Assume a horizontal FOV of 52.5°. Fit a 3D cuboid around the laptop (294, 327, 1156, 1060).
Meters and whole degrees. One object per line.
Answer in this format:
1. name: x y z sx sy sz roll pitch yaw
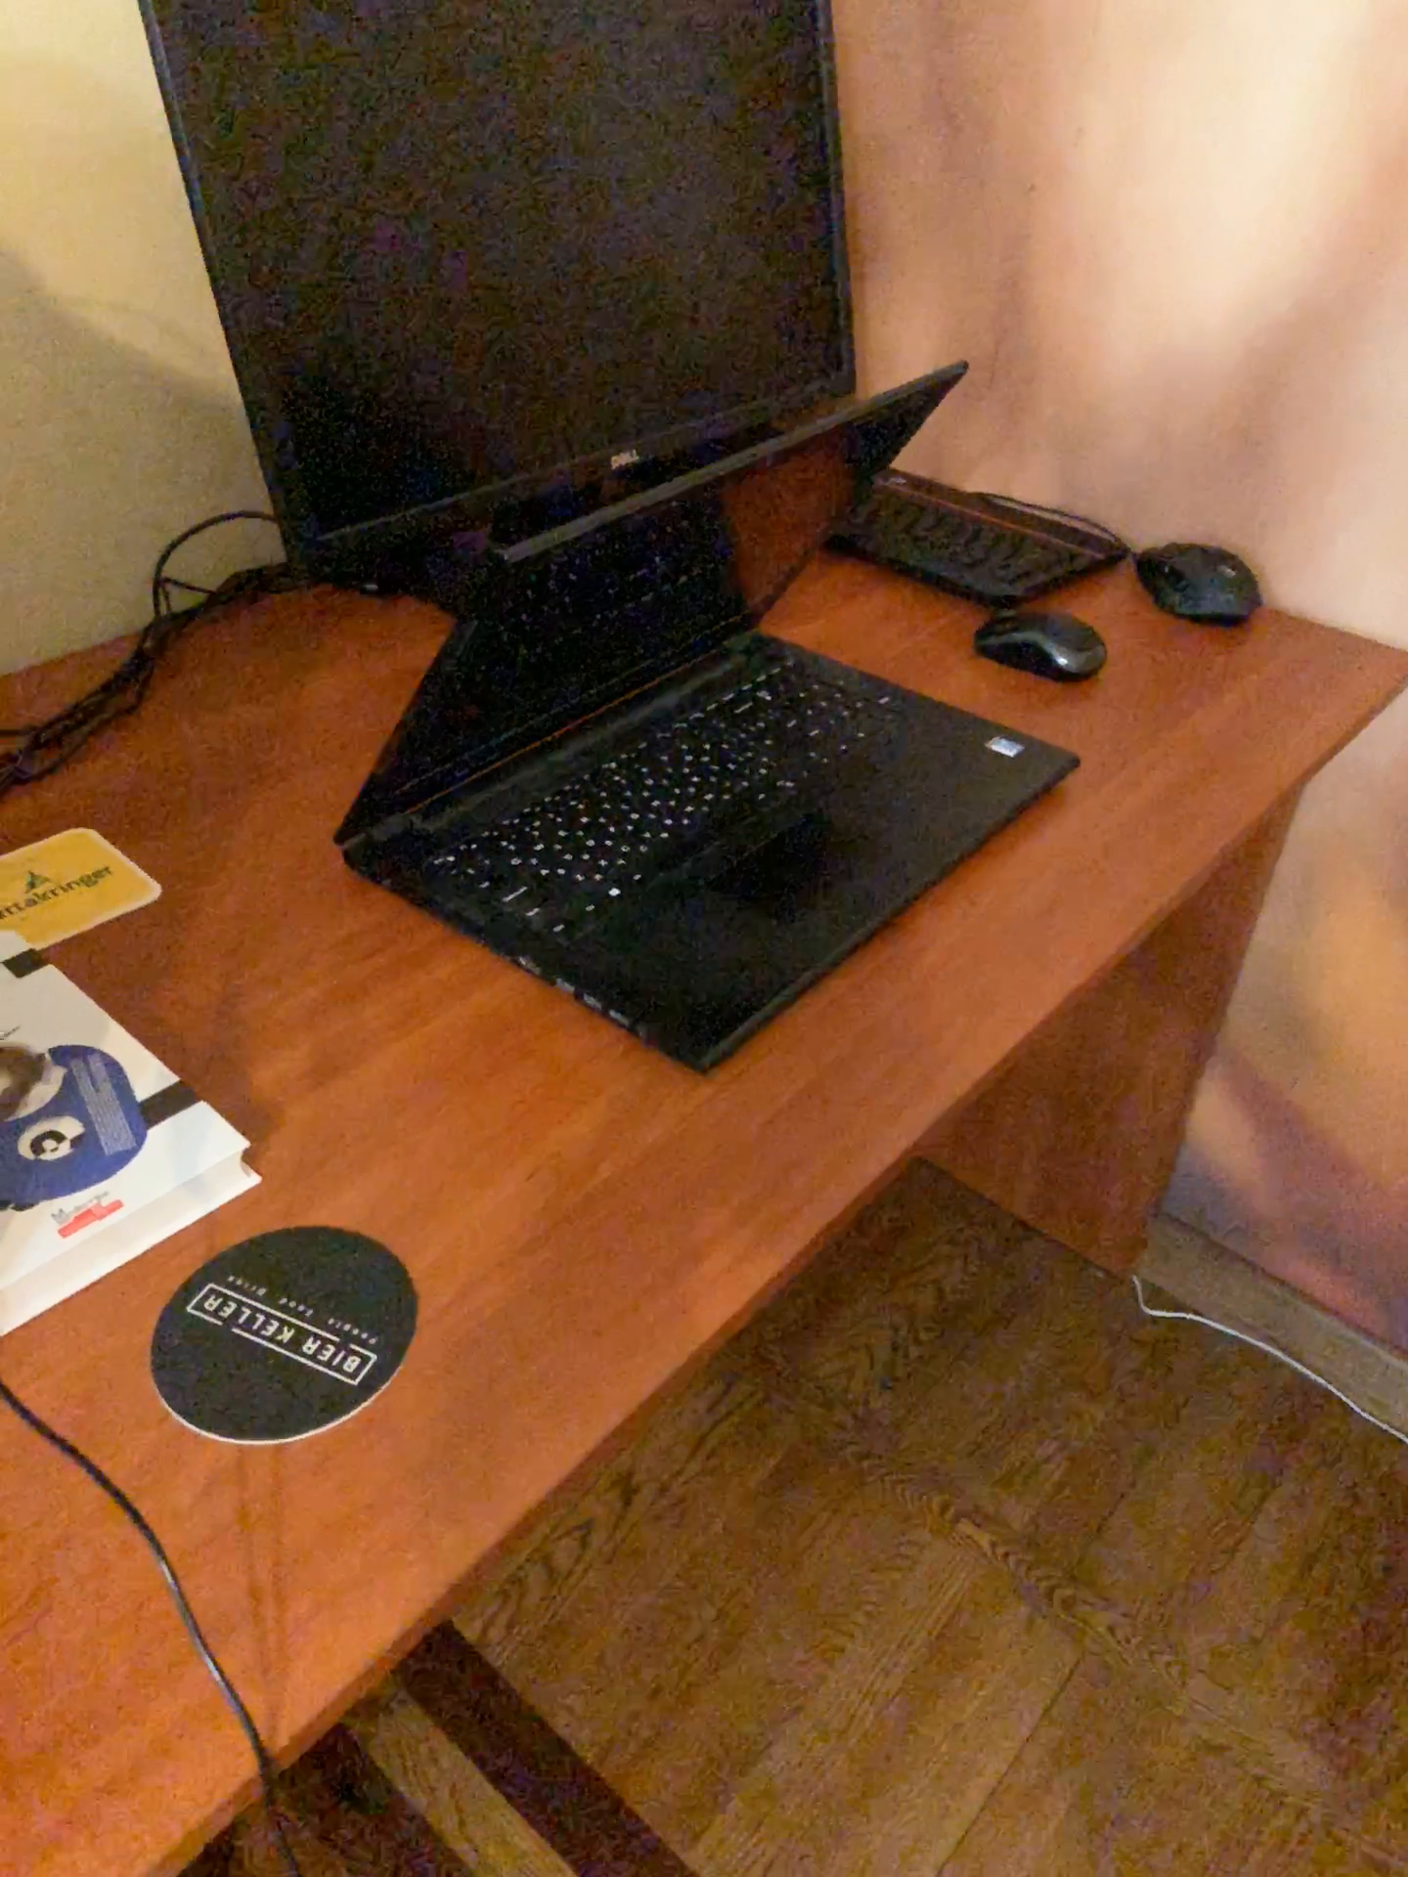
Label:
1. laptop: 0.023 -0.164 0.780 0.254 0.212 0.374 28 44 29
